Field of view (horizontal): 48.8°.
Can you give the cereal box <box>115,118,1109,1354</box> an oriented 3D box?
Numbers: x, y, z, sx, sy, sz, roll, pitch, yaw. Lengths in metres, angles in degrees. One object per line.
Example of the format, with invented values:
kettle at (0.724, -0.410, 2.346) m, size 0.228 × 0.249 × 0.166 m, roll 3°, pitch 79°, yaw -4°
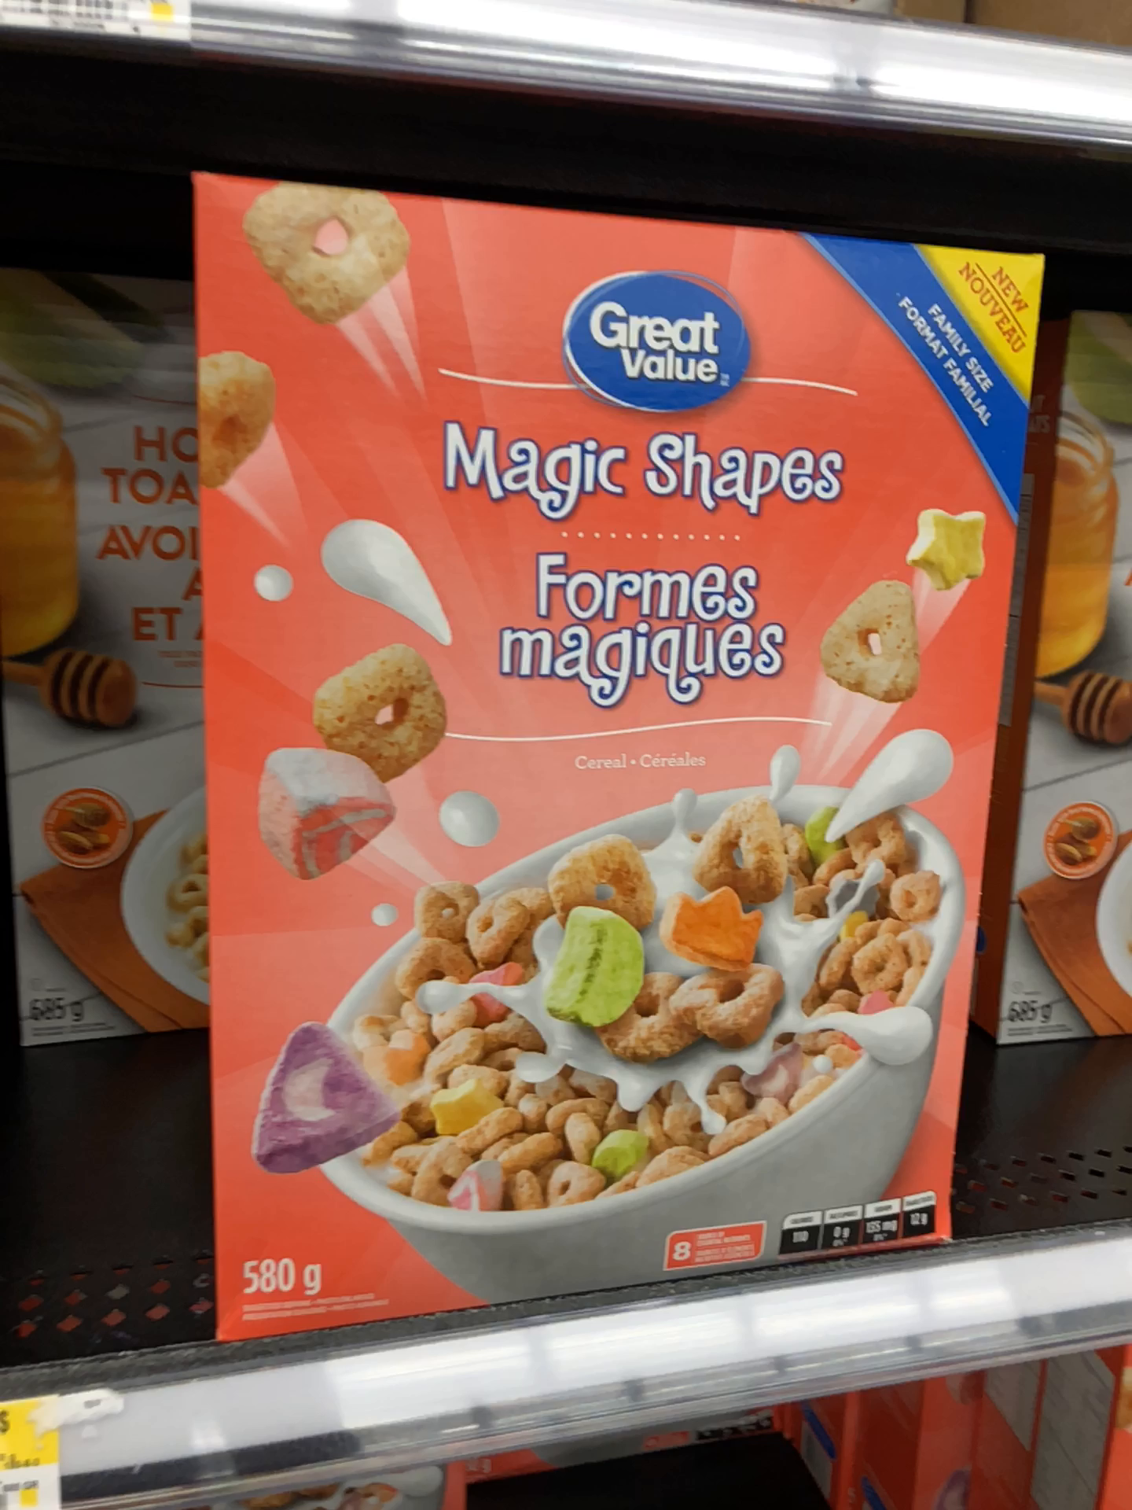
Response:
cereal box at (0.010, 0.001, 0.381) m, size 0.260 × 0.319 × 0.070 m, roll -2°, pitch 14°, yaw -15°
